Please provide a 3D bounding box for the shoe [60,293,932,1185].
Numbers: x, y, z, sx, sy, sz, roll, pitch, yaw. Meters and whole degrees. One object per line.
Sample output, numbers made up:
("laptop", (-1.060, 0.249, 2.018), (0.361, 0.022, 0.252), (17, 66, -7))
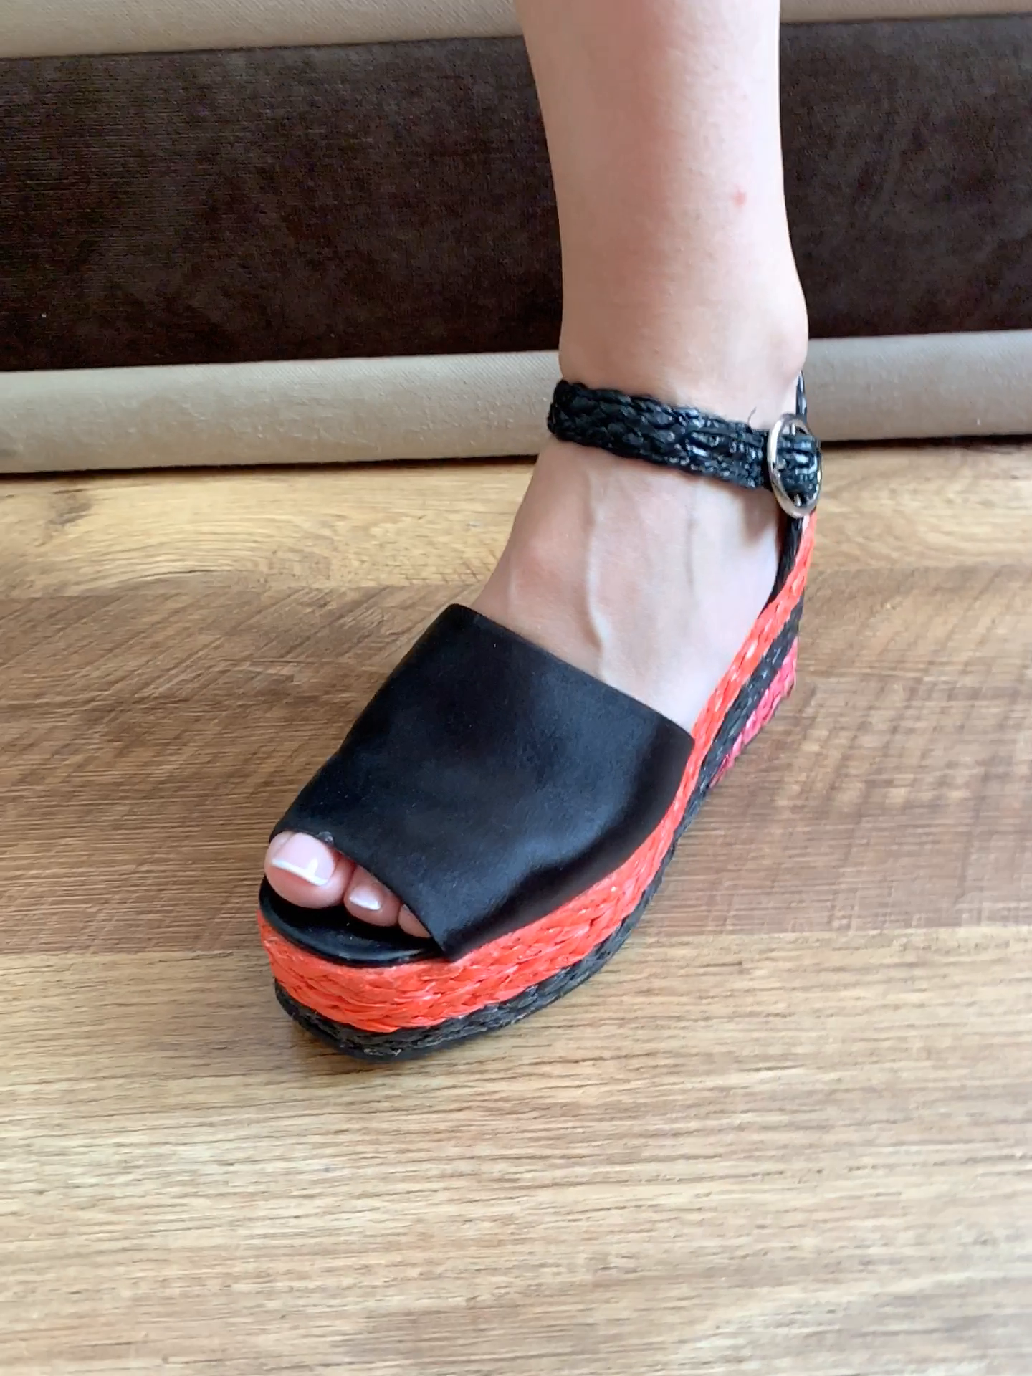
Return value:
("shoe", (0.016, -0.006, 0.311), (0.089, 0.124, 0.241), (27, 49, 29))
